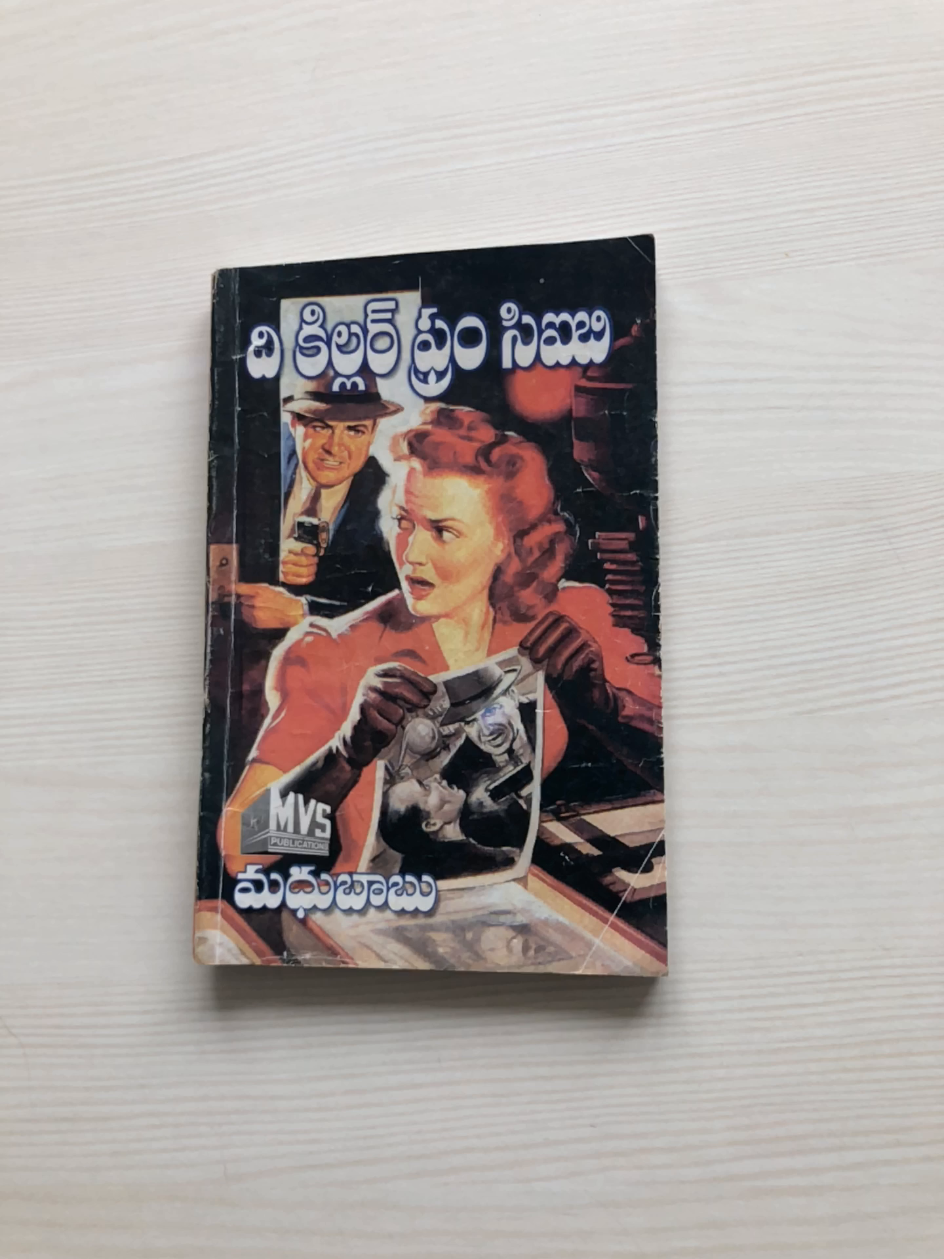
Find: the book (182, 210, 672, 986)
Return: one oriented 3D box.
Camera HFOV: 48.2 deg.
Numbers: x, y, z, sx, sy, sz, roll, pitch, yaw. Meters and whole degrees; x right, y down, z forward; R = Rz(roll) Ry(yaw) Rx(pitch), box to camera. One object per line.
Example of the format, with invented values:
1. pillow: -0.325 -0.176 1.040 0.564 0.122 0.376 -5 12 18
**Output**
1. book: -0.010 -0.008 0.228 0.100 0.012 0.160 -1 83 8
